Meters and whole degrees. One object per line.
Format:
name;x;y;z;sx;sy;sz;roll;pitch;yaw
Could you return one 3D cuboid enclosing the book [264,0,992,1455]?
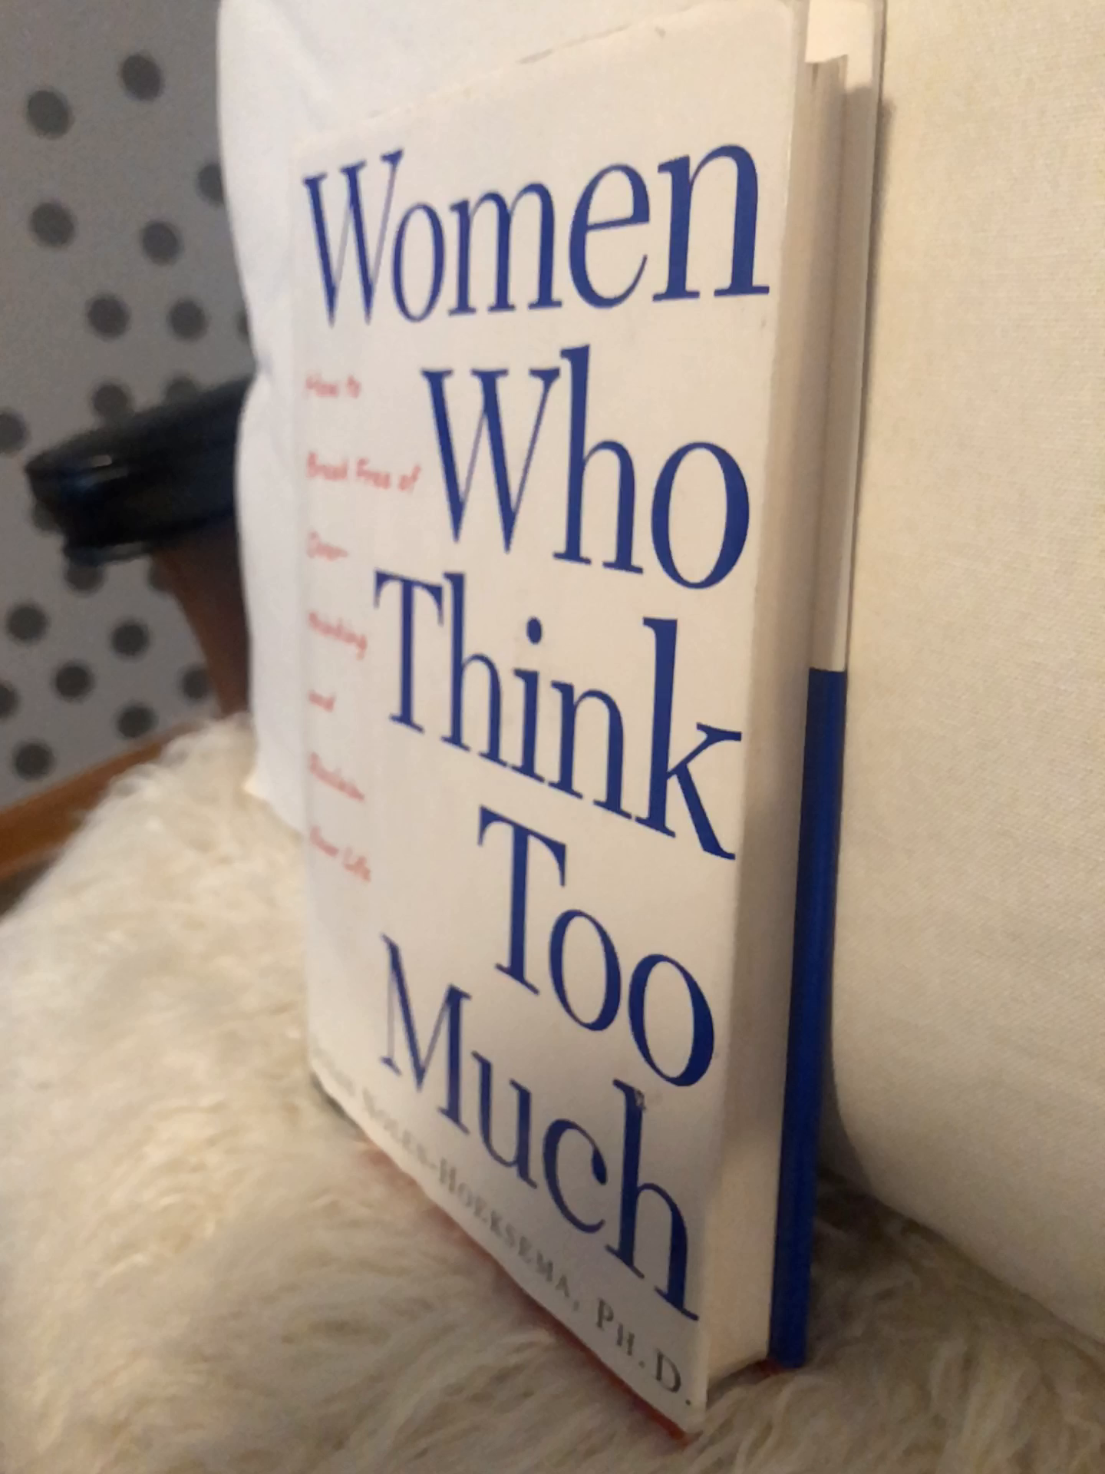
book;-0.007;-0.011;0.270;0.040;0.241;0.166;-6;17;-37
